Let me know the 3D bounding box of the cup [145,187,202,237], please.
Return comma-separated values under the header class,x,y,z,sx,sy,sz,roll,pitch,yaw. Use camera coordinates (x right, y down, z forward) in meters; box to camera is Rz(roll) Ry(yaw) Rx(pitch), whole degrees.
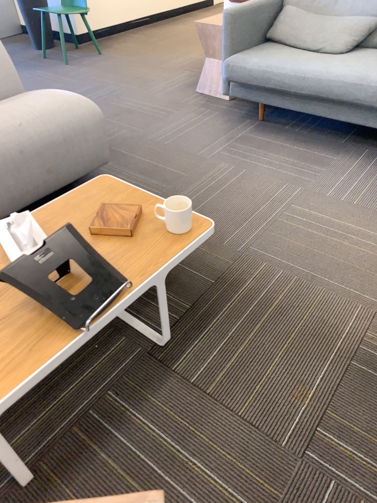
class,x,y,z,sx,sy,sz,roll,pitch,yaw
cup,-0.041,-0.116,1.127,0.140,0.089,0.090,12,43,16
